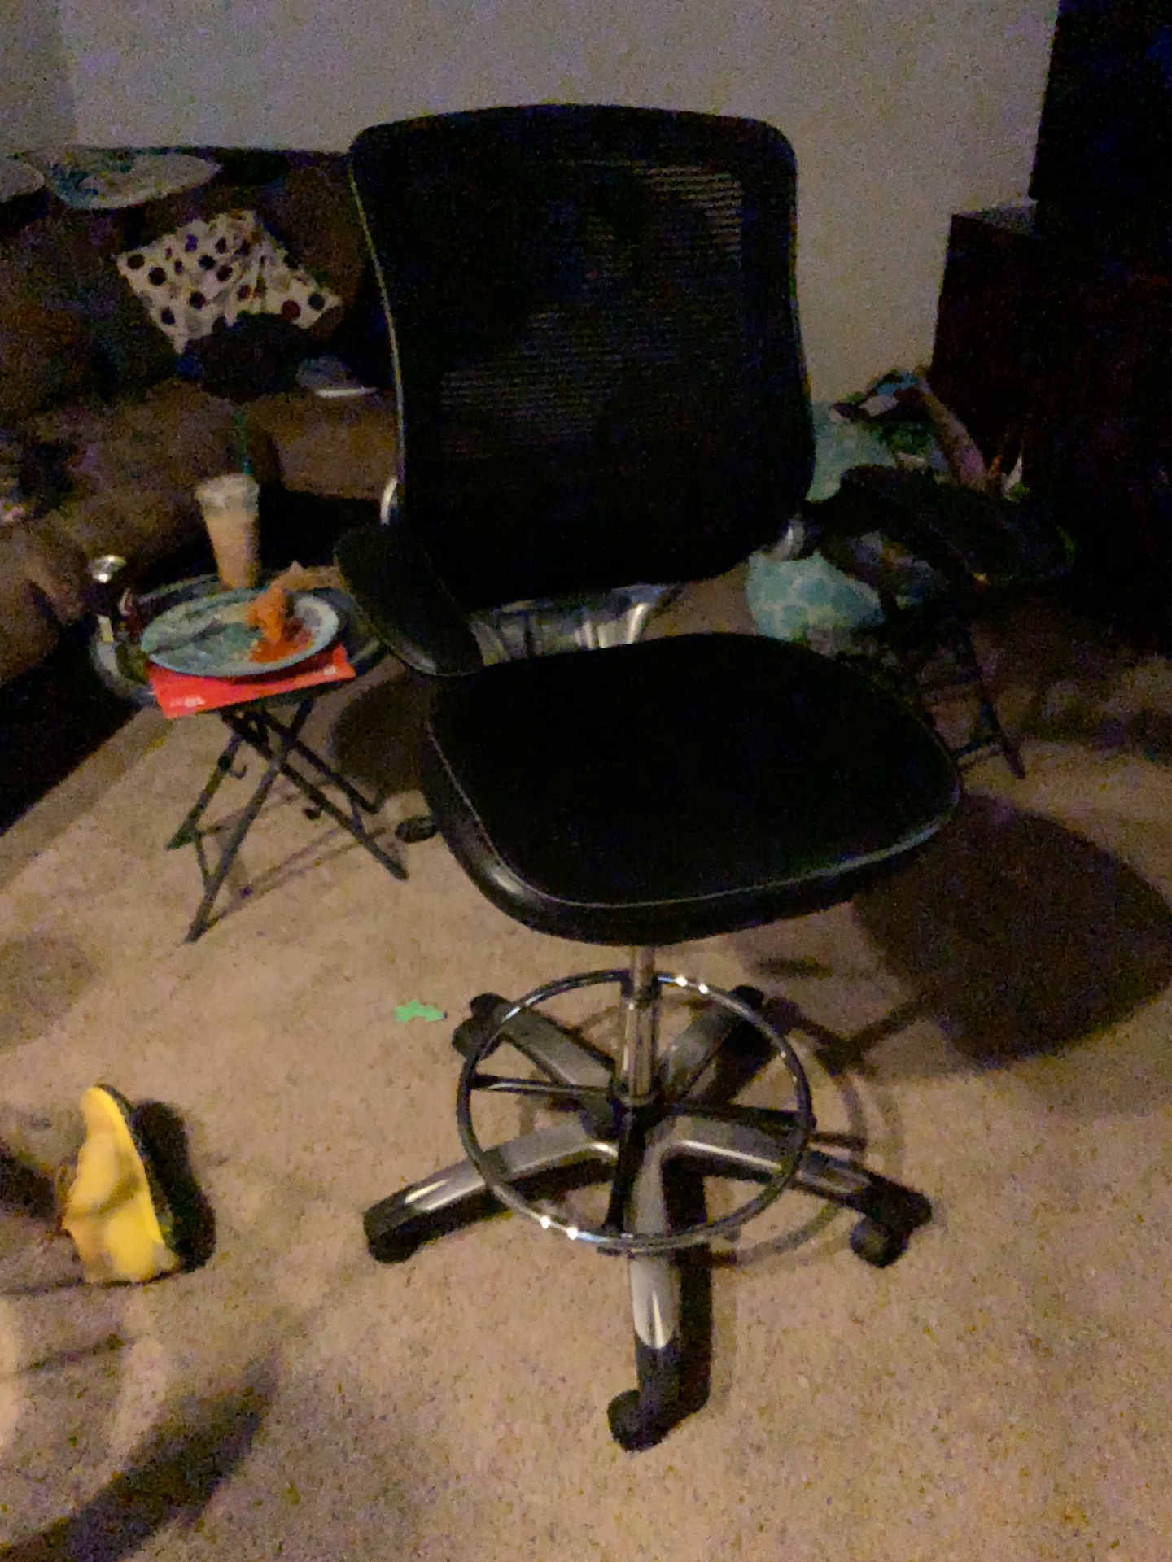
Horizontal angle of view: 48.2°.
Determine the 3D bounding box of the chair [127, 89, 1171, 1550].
[{"bbox_3d":[0.033,-0.041,1.442,0.760,1.170,0.930,-11,35,-17],"label":"chair"}]
